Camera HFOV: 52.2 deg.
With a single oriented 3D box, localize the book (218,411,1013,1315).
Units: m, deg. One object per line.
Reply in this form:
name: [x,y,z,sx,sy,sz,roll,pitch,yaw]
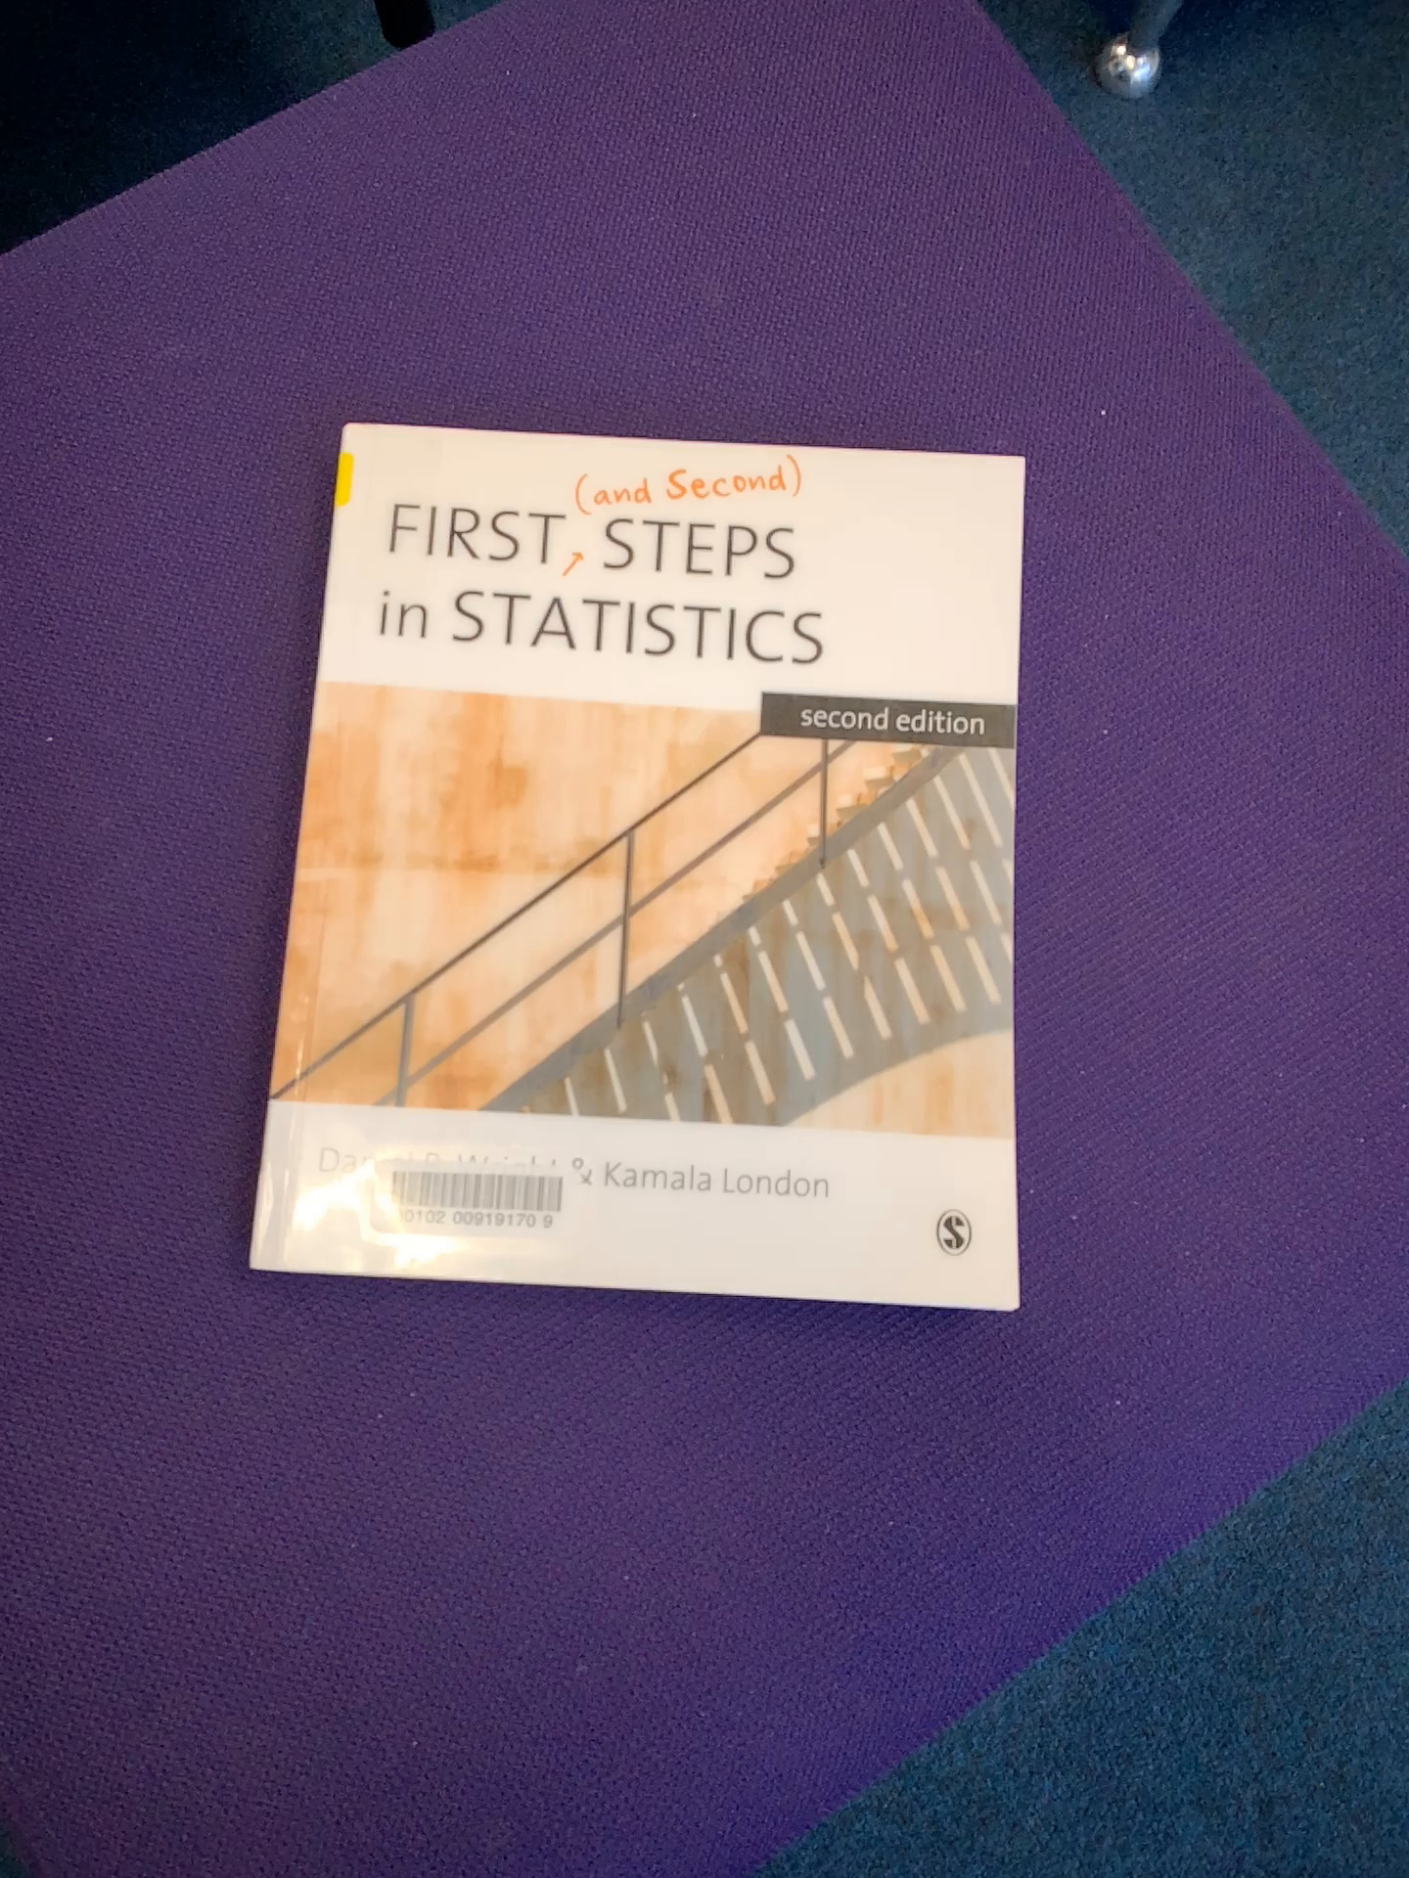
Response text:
book: [-0.016,-0.025,0.377,0.188,0.022,0.229,3,77,0]
